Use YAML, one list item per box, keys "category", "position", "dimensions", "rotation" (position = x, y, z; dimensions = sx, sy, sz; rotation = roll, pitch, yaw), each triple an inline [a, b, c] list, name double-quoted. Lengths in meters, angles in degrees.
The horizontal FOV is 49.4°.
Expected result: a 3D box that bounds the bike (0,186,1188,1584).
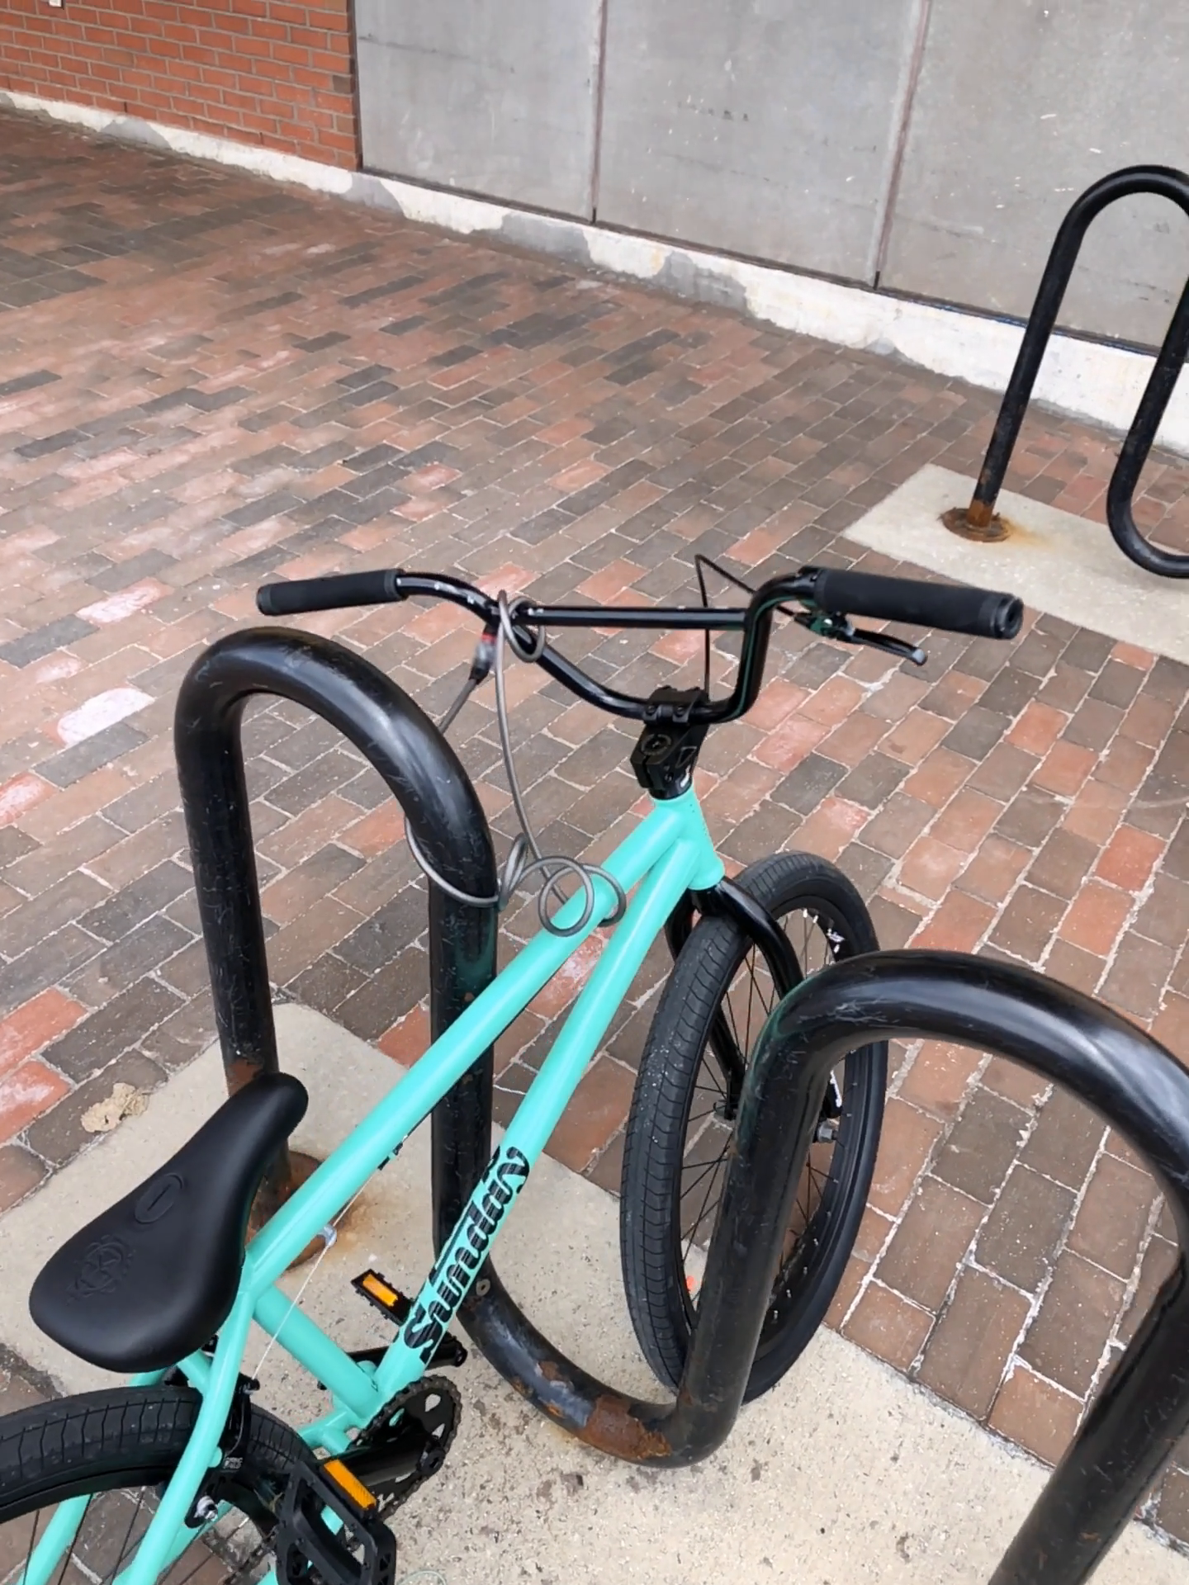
- category: "bike"
  position: [-0.154, 0.306, 1.043]
  dimensions: [0.811, 1.067, 1.468]
  rotation: [29, 45, 29]
